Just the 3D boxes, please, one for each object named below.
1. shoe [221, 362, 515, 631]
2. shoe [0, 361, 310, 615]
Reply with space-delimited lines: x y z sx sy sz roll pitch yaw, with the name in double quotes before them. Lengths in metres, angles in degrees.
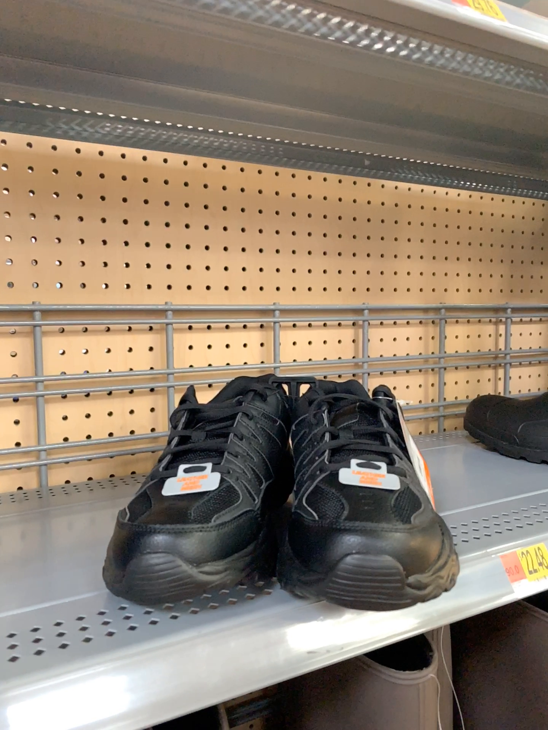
"shoe" 0.050 0.062 0.411 0.135 0.104 0.297 -1 4 3
"shoe" -0.061 0.060 0.433 0.139 0.104 0.297 0 5 11
